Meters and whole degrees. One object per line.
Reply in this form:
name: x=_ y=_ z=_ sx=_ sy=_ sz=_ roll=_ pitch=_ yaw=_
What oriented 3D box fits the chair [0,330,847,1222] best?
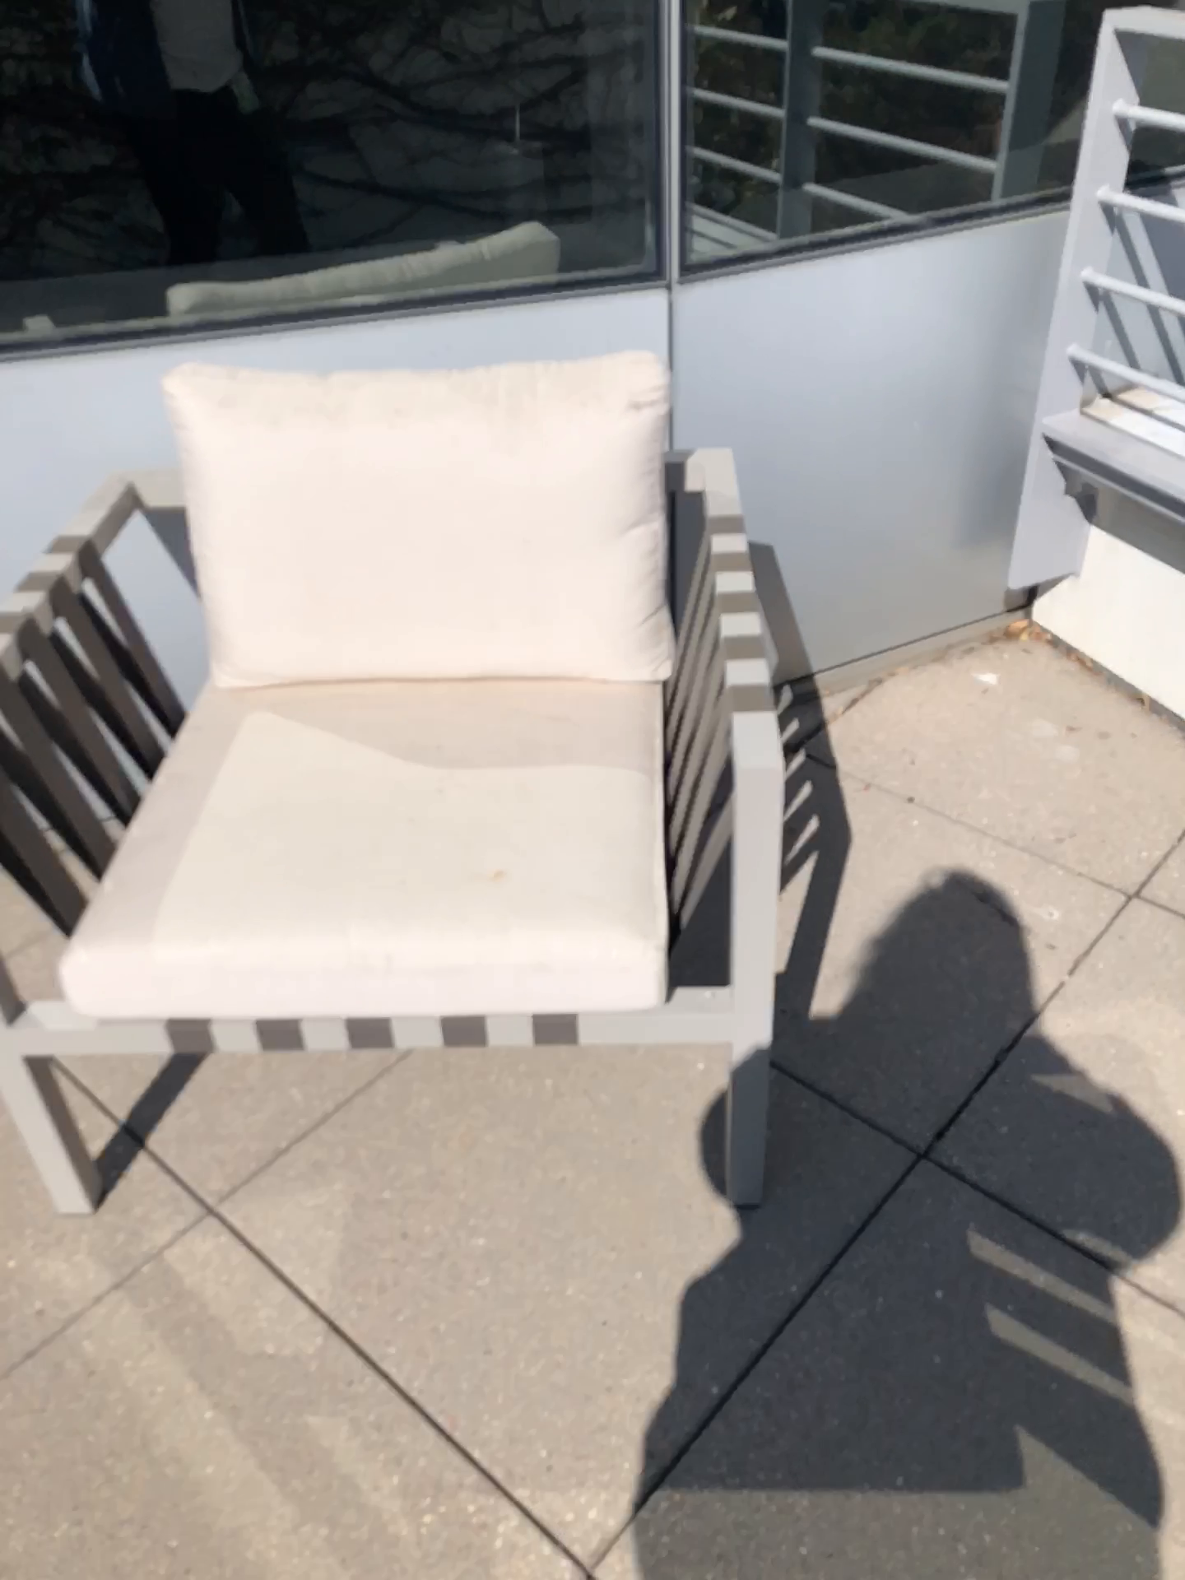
chair: x=-0.214 y=-0.046 z=1.555 sx=0.870 sy=0.736 sz=0.784 roll=-1 pitch=36 yaw=2
